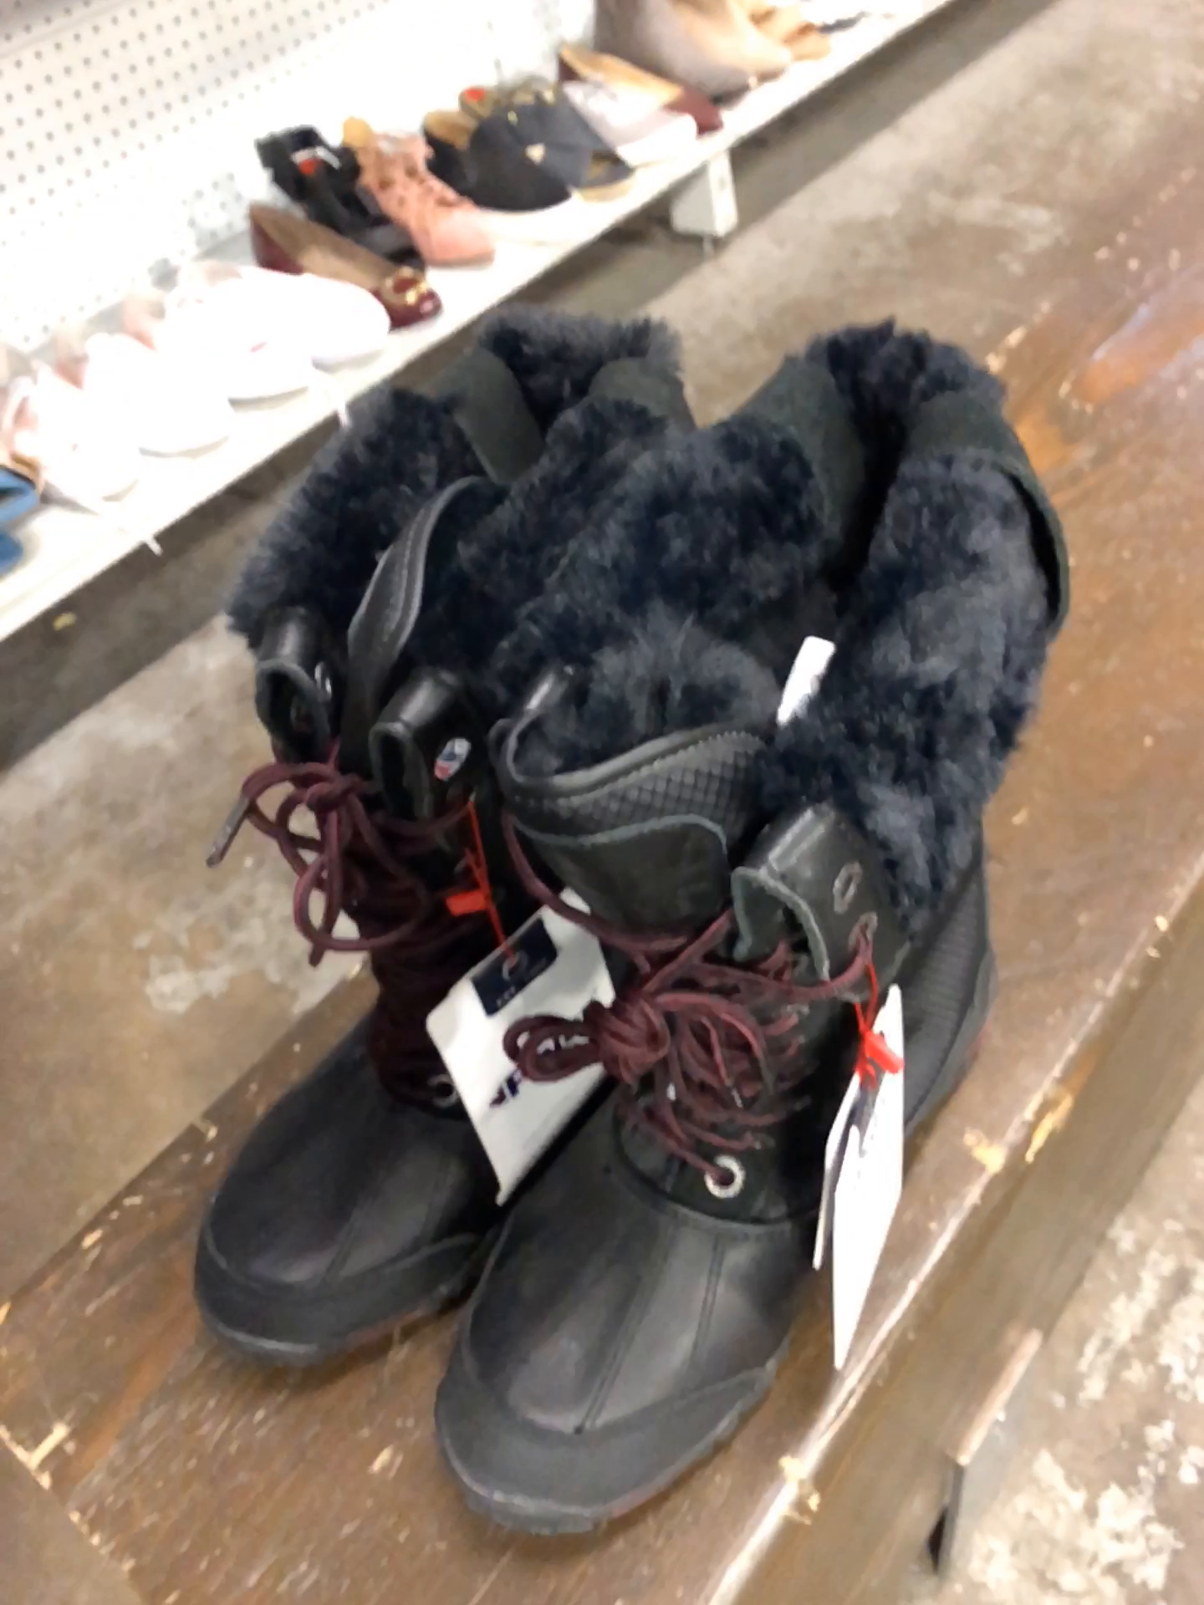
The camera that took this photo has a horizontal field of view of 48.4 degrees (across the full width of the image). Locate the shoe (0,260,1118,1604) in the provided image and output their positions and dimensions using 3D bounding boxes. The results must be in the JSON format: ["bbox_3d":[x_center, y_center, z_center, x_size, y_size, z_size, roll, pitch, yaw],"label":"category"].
[{"bbox_3d":[0.022,0.044,0.347,0.100,0.258,0.231,23,55,29],"label":"shoe"}]

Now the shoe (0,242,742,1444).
[{"bbox_3d":[-0.068,0.018,0.392,0.100,0.258,0.221,23,55,29],"label":"shoe"}]
